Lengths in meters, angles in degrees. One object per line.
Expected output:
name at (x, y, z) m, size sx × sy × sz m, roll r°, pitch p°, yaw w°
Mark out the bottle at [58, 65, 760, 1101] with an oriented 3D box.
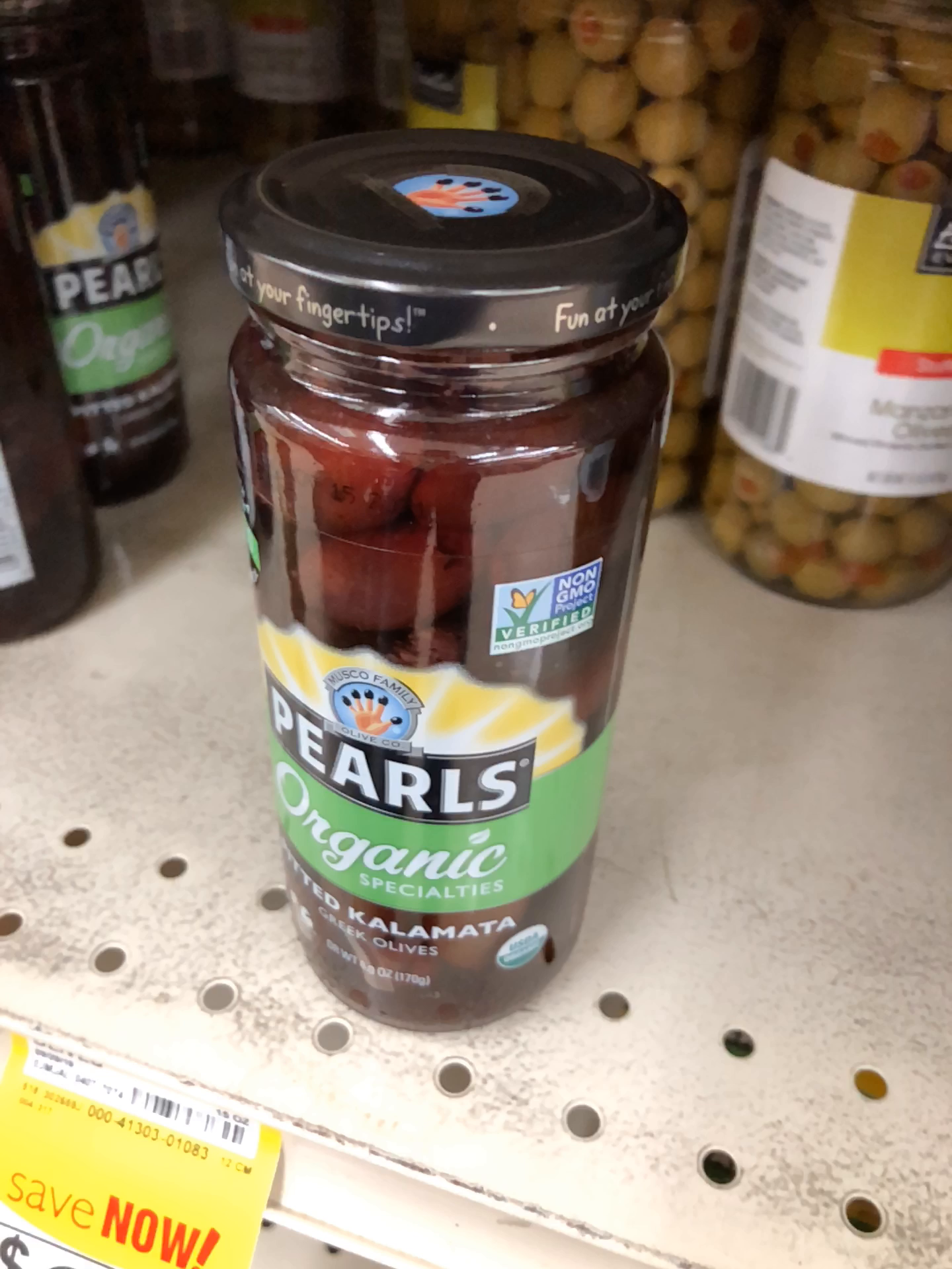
bottle at (-0.005, 0.001, 0.175) m, size 0.063 × 0.150 × 0.060 m, roll 1°, pitch 41°, yaw -1°
